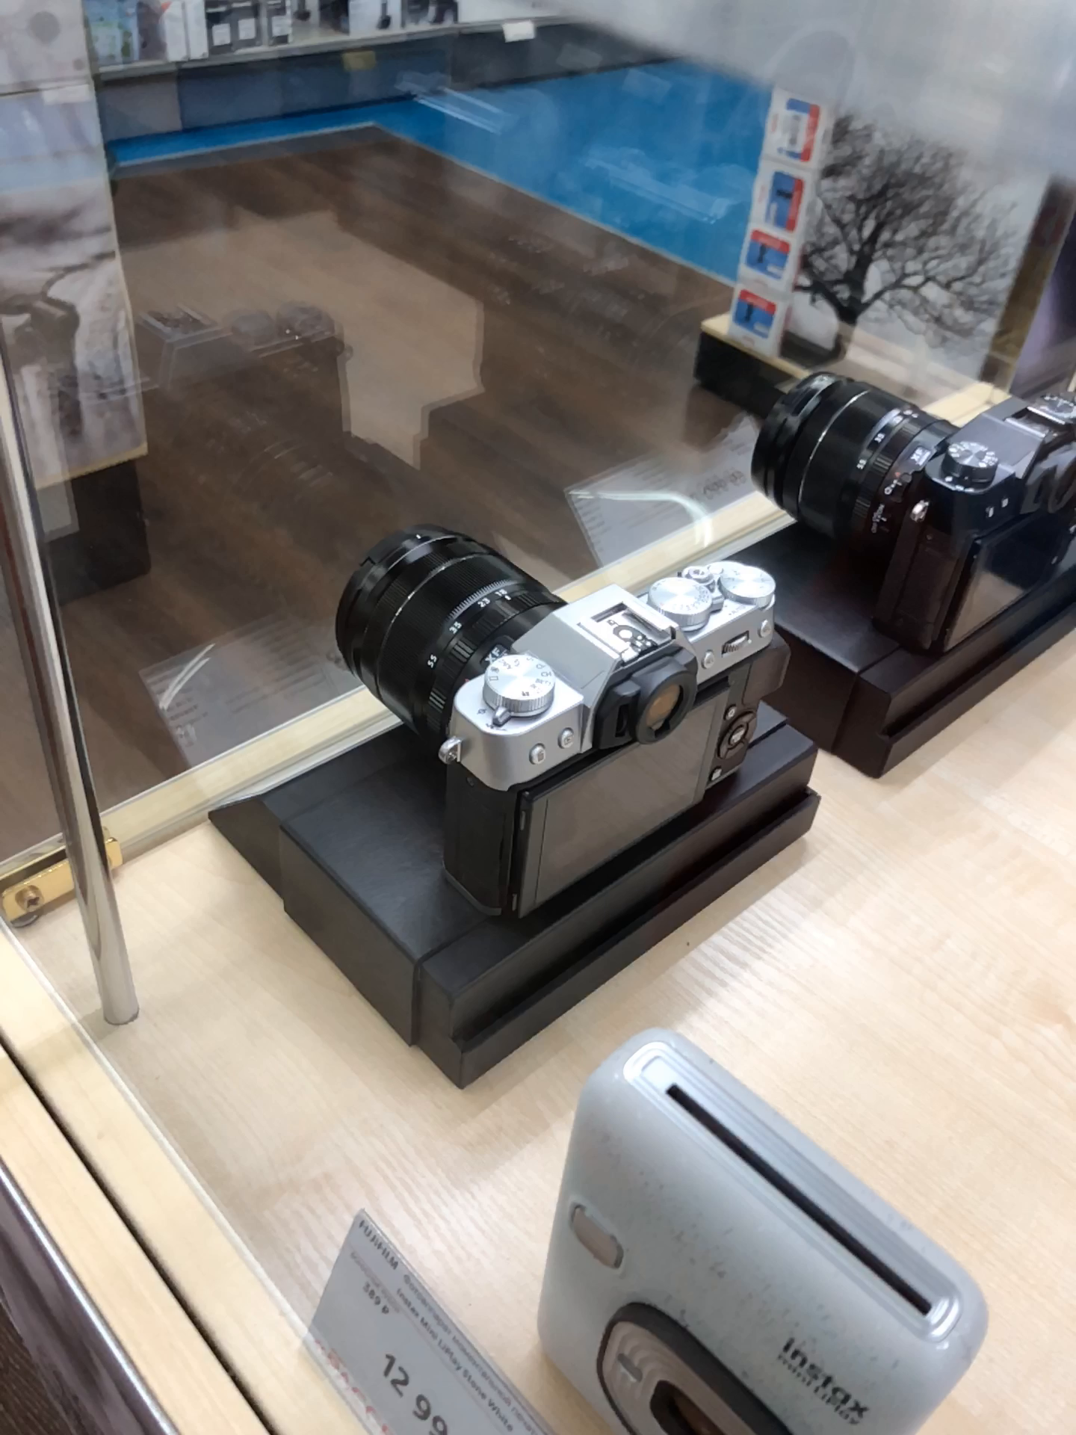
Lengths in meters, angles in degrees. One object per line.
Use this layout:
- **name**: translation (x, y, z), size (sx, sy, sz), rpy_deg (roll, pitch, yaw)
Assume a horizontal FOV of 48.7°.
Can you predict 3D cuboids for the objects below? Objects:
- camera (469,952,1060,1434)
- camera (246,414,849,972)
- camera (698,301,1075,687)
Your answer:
- **camera**: translation (0.034, 0.121, 0.244), size (0.039, 0.110, 0.094), rpy_deg (-31, 53, -35)
- **camera**: translation (-0.001, -0.017, 0.376), size (0.124, 0.080, 0.130), rpy_deg (-26, 51, -32)
- **camera**: translation (0.163, -0.101, 0.500), size (0.124, 0.080, 0.130), rpy_deg (-26, 51, -32)
